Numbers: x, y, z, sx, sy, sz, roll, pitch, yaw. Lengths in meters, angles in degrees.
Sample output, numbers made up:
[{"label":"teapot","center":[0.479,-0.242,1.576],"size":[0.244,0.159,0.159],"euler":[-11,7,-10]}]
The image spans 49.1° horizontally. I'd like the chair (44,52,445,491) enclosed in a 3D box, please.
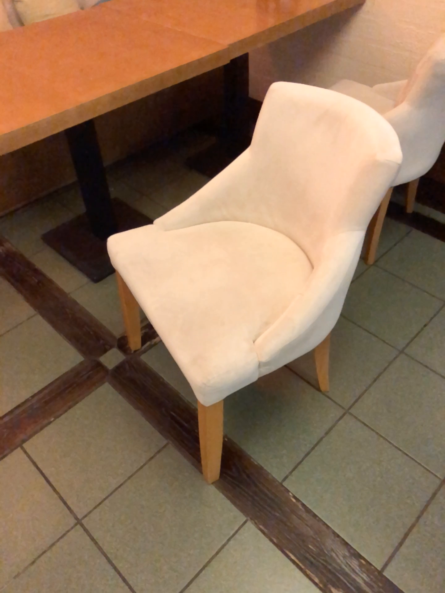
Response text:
[{"label":"chair","center":[0.058,-0.088,1.271],"size":[0.661,0.736,0.633],"euler":[-25,49,-21]}]
